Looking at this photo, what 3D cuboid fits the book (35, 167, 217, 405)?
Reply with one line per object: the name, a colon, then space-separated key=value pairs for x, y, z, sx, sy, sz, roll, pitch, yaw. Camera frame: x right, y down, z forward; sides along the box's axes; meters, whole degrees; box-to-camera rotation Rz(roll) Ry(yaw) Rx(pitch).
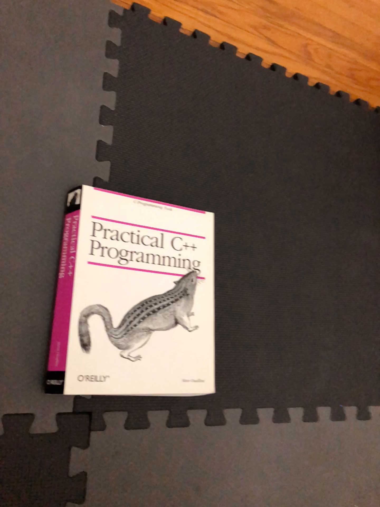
book: x=-0.062 y=0.046 z=0.504 sx=0.200 sy=0.050 sz=0.250 roll=12 pitch=71 yaw=-32
